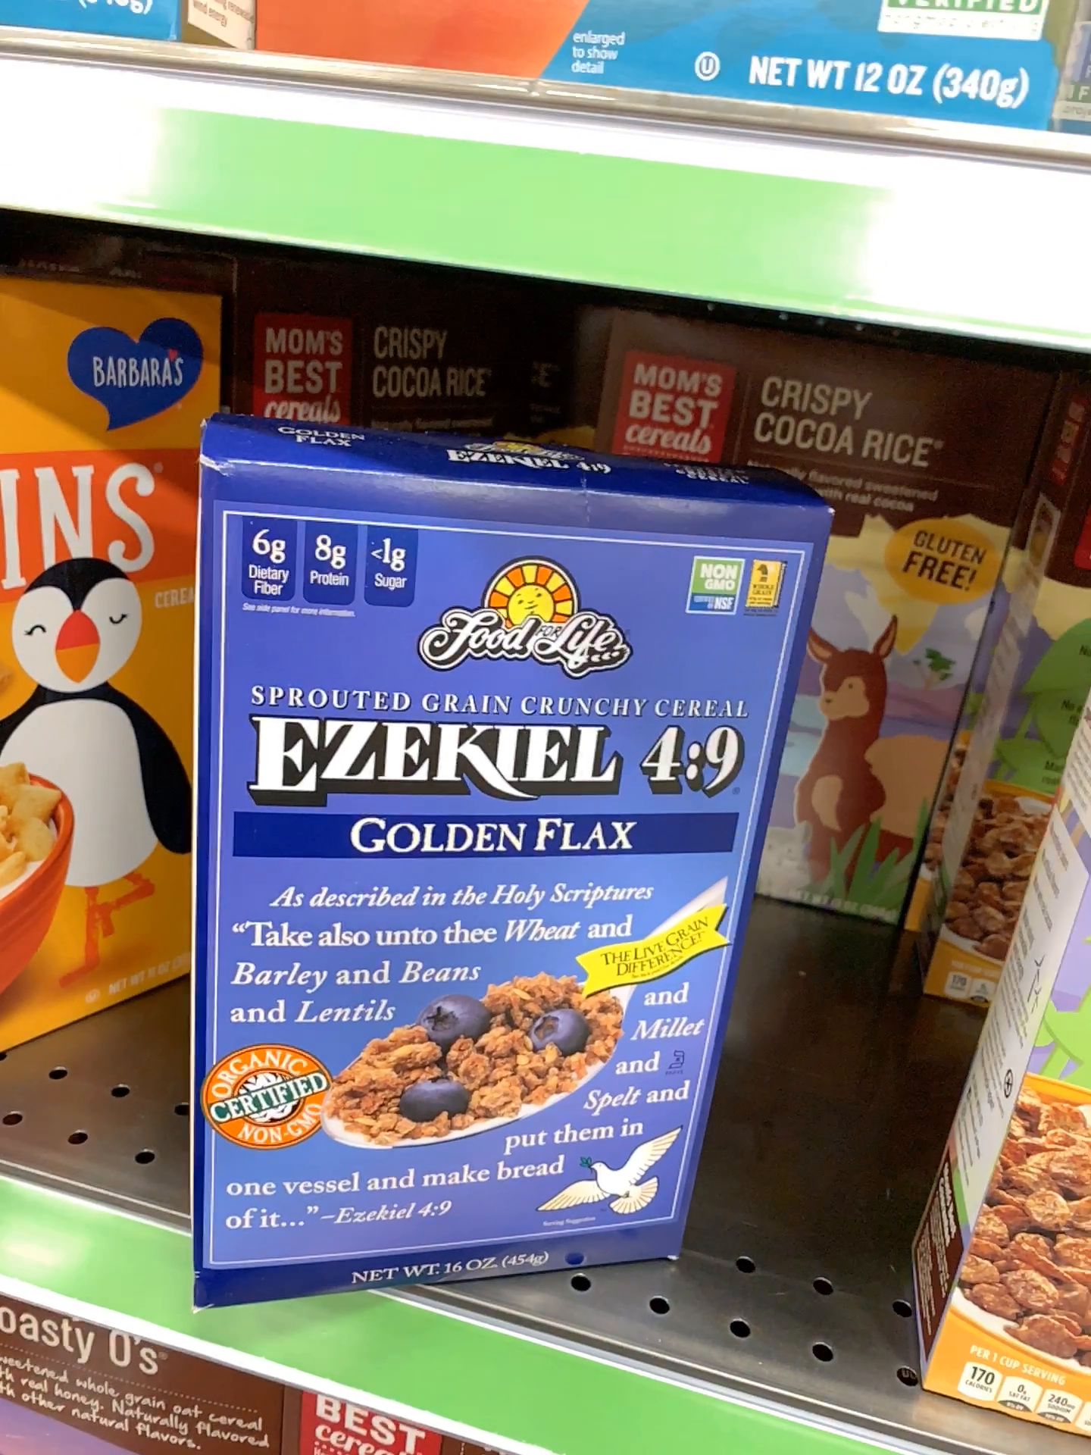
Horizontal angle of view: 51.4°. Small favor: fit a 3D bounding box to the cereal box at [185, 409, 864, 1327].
[{"bbox_3d":[-0.019,0.046,0.330,0.160,0.249,0.060,1,21,-15],"label":"cereal box"}]
